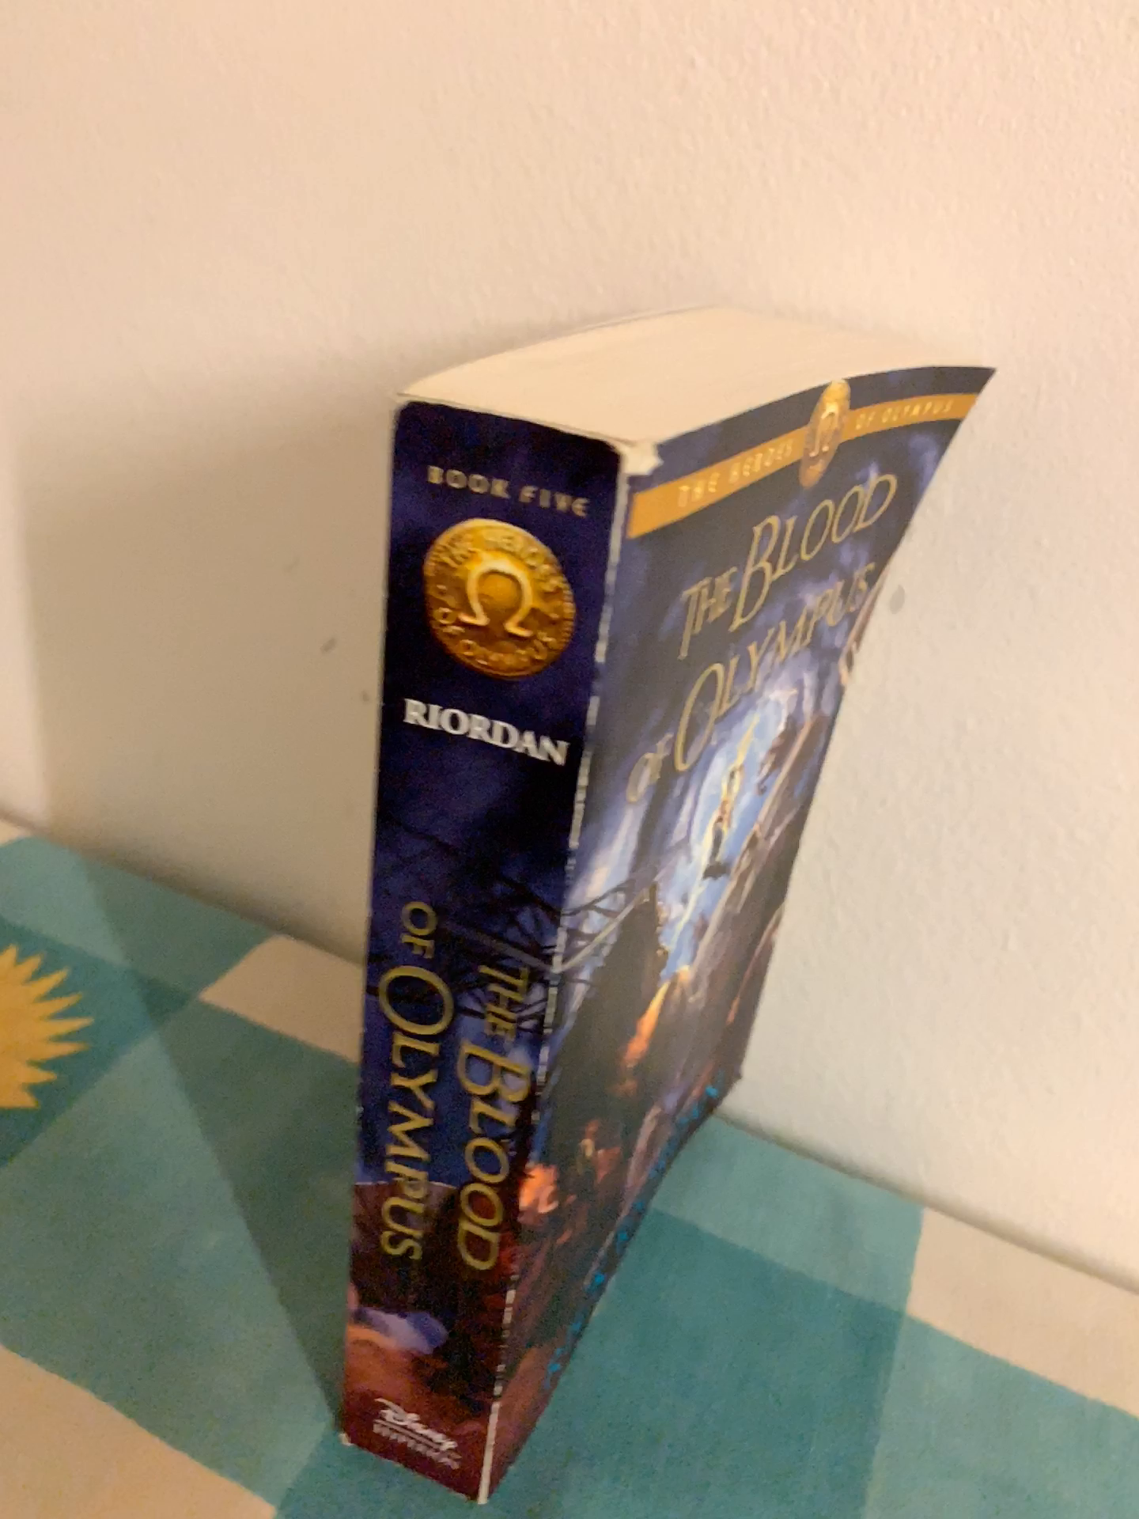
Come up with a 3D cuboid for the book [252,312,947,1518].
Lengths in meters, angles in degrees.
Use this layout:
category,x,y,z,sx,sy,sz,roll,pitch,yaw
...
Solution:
category,x,y,z,sx,sy,sz,roll,pitch,yaw
book,0.010,0.016,0.230,0.051,0.180,0.151,19,27,19
